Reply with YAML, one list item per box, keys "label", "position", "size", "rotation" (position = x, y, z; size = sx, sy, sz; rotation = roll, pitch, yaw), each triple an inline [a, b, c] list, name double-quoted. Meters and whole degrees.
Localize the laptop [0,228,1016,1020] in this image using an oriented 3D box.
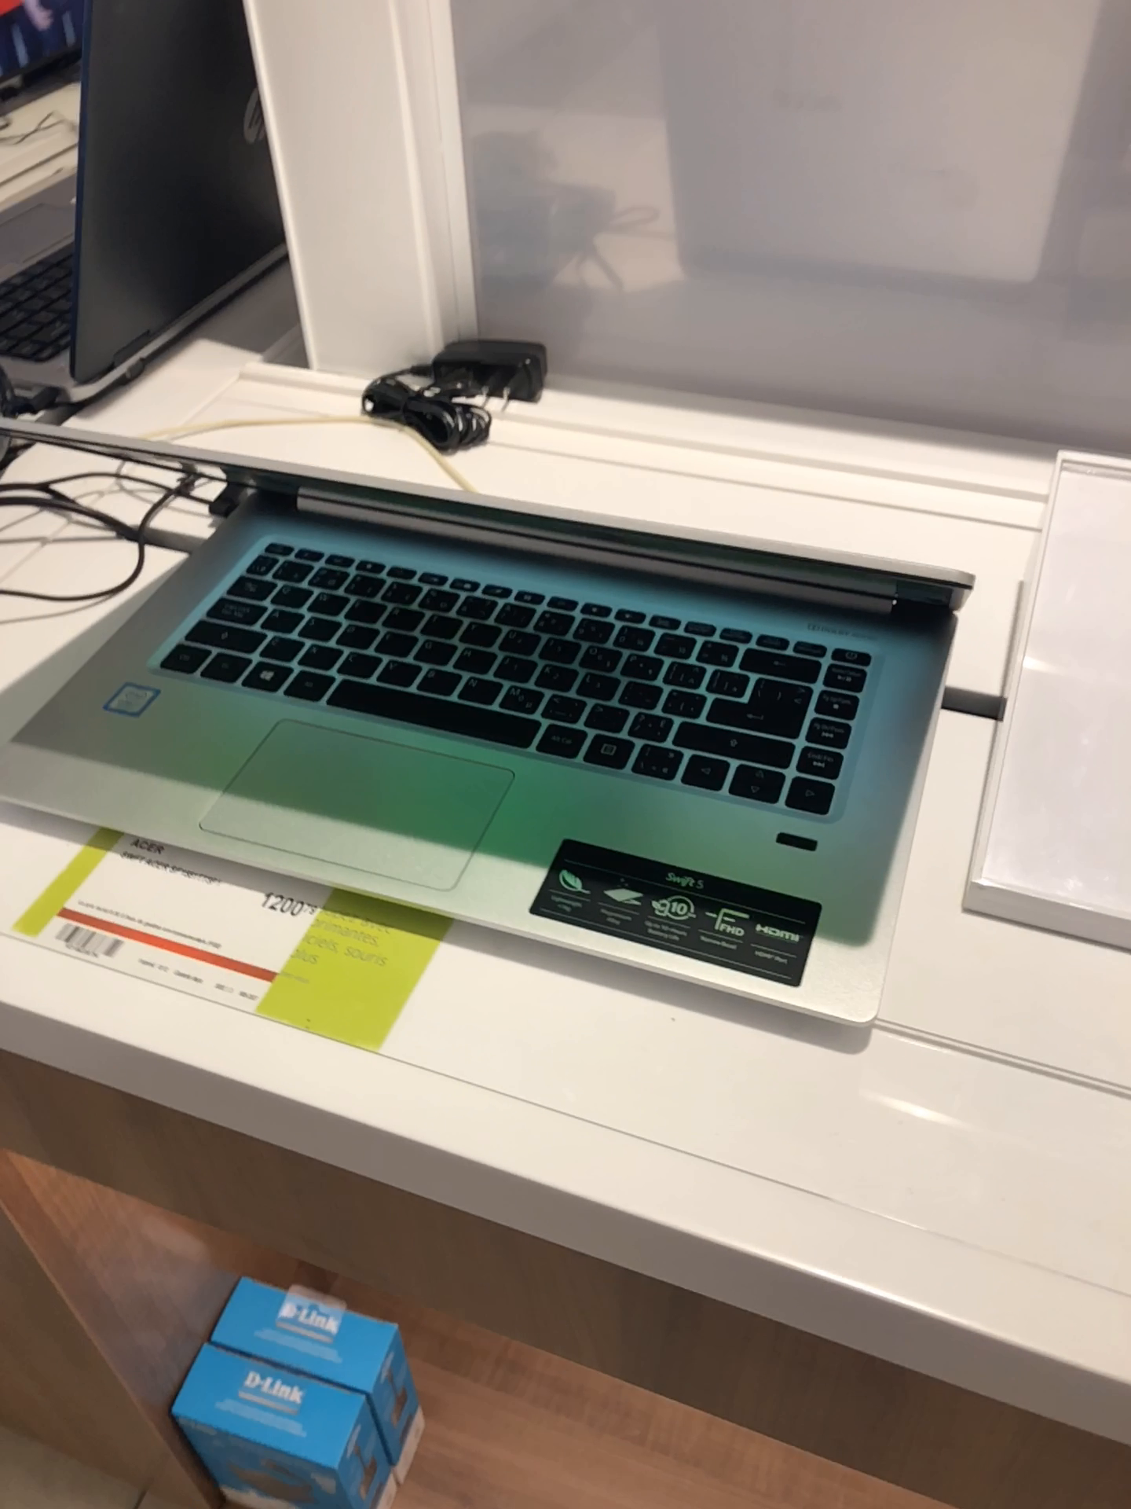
- label: "laptop"
  position: [-0.033, -0.073, 0.475]
  size: [0.347, 0.132, 0.218]
  rotation: [13, 46, 15]
